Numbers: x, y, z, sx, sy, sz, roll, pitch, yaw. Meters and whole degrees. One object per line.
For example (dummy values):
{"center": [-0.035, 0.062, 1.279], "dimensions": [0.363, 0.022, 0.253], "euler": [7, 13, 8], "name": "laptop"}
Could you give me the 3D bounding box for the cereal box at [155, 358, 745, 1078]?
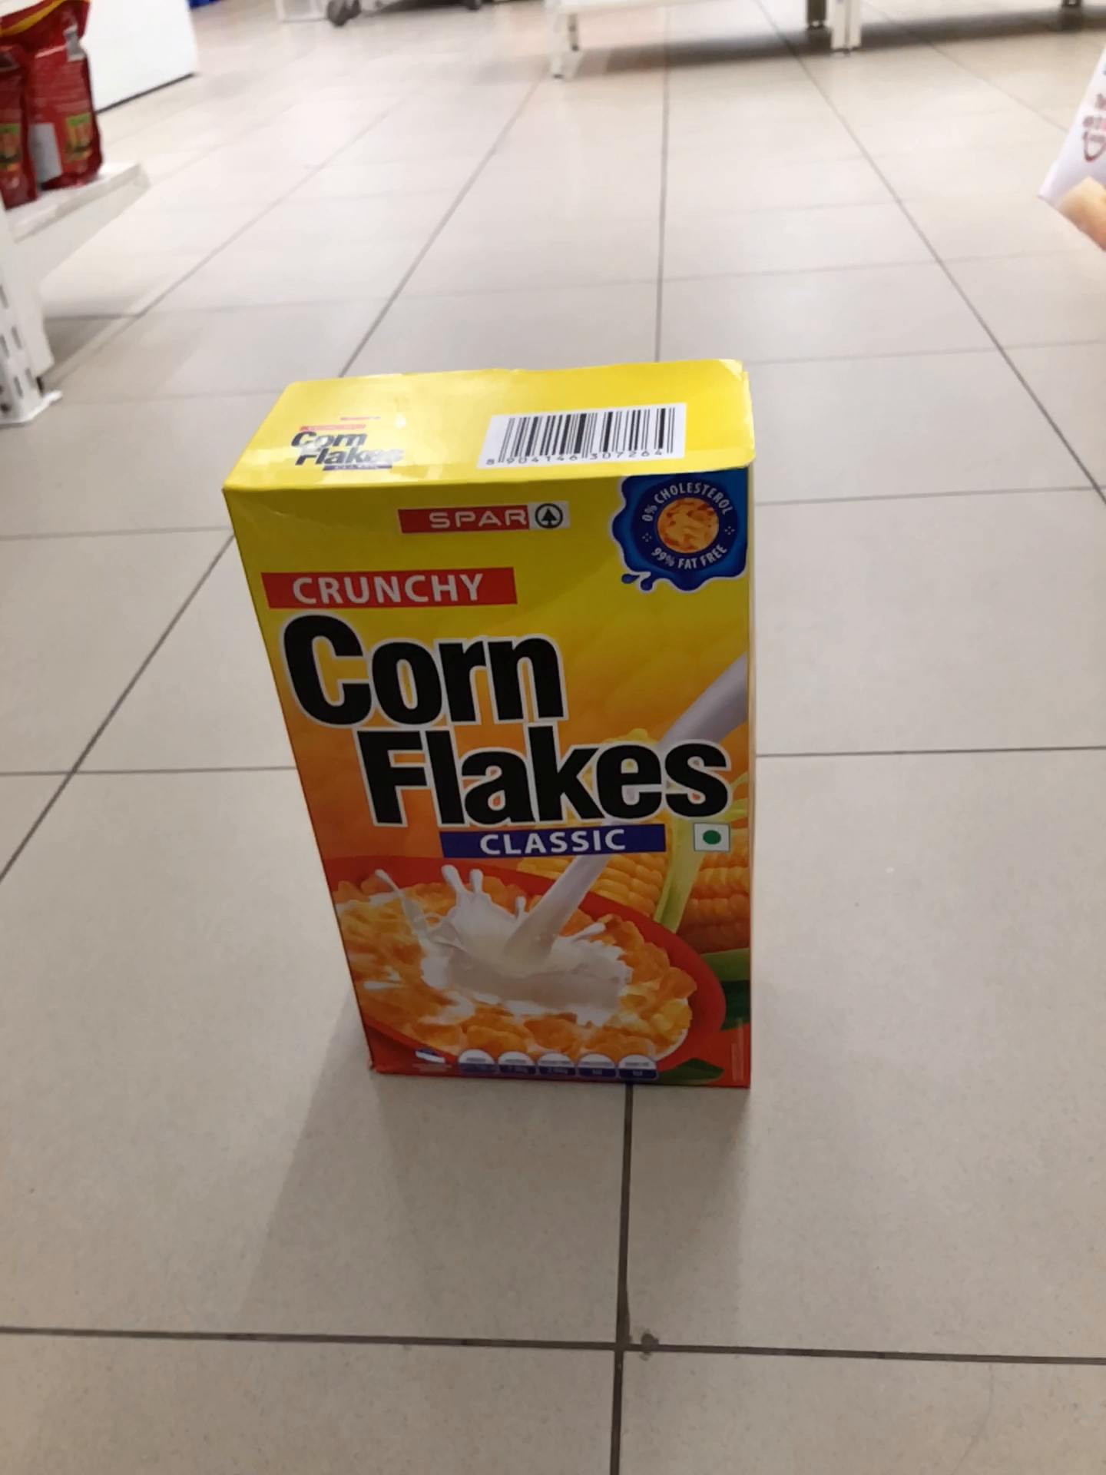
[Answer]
{"center": [-0.020, 0.005, 0.532], "dimensions": [0.200, 0.298, 0.101], "euler": [-1, 34, 8], "name": "cereal box"}
